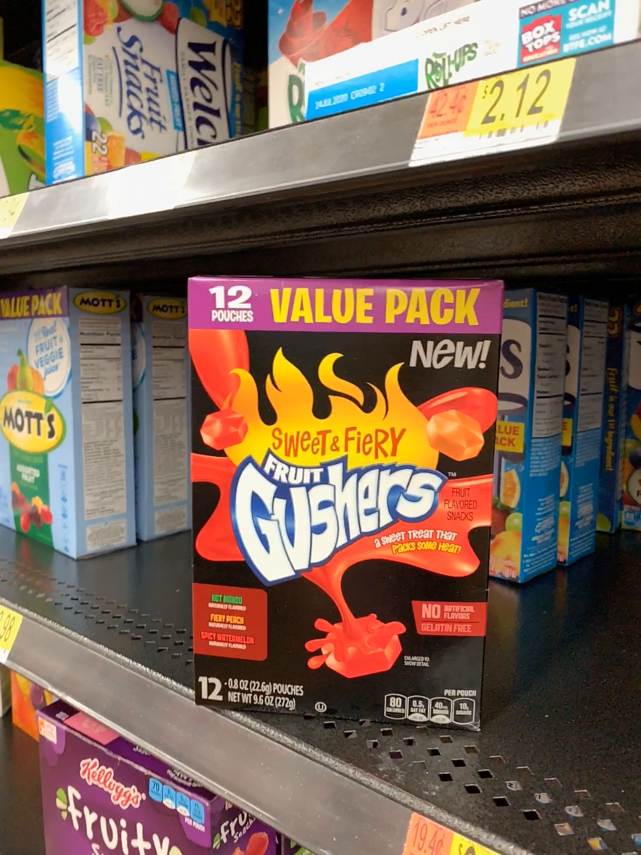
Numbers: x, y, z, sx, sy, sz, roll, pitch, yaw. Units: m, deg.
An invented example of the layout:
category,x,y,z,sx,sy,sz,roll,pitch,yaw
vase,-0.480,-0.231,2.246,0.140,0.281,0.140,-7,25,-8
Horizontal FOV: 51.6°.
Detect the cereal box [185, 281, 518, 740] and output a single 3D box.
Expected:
category,x,y,z,sx,sy,sz,roll,pitch,yaw
cereal box,0.014,0.038,0.341,0.150,0.219,0.050,2,10,8
